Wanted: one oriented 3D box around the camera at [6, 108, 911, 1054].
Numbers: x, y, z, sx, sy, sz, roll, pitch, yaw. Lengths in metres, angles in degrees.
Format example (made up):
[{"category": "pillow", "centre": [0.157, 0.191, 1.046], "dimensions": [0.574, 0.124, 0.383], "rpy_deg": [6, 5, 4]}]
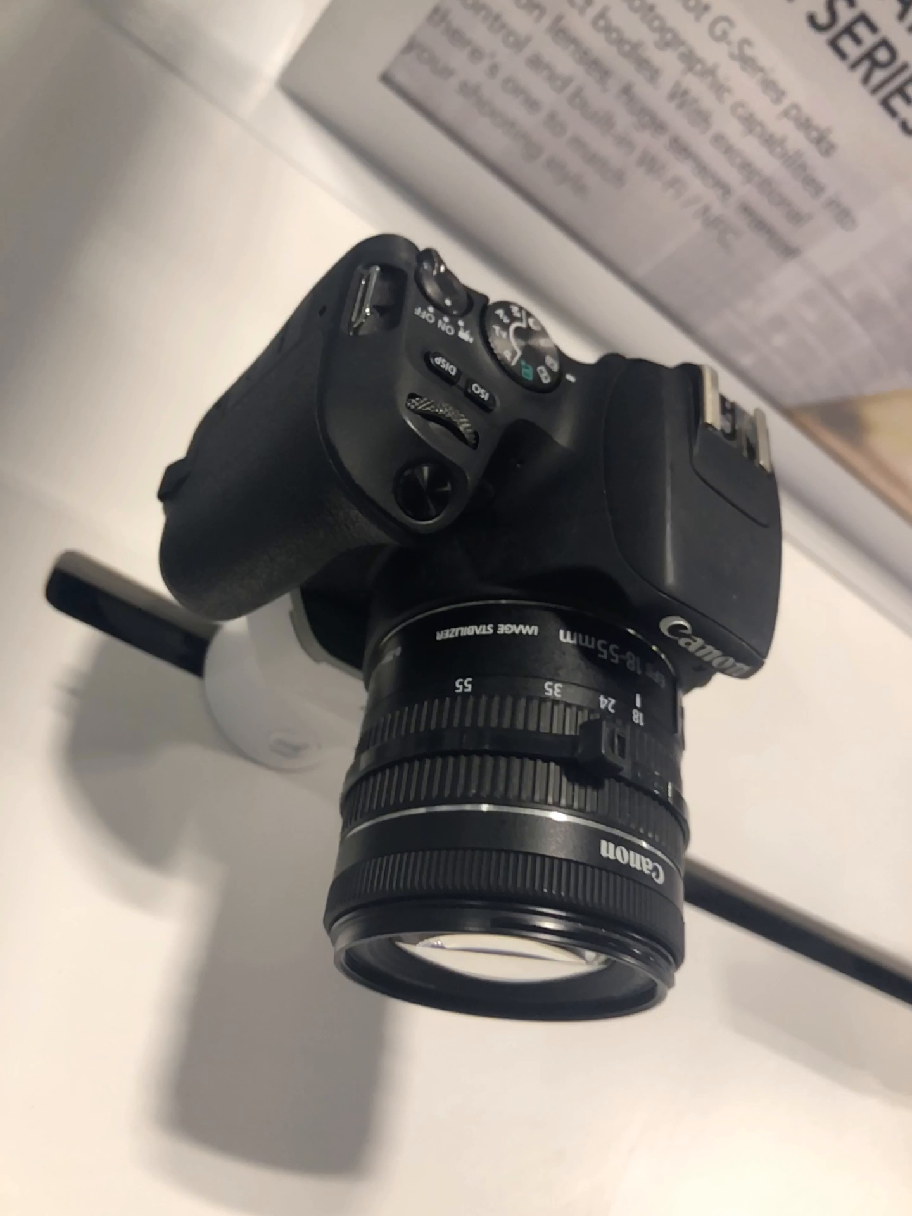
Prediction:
[{"category": "camera", "centre": [0.010, 0.009, 0.197], "dimensions": [0.122, 0.099, 0.110], "rpy_deg": [29, 50, -28]}]
